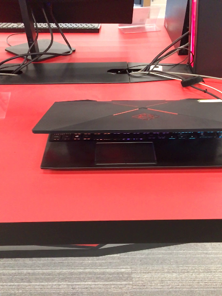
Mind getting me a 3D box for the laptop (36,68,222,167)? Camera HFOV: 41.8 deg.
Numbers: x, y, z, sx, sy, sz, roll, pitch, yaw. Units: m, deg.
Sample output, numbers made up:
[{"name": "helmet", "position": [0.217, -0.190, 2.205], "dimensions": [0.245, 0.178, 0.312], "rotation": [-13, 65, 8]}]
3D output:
[{"name": "laptop", "position": [0.061, -0.066, 0.577], "dimensions": [0.375, 0.092, 0.219], "rotation": [-2, 40, 3]}]
